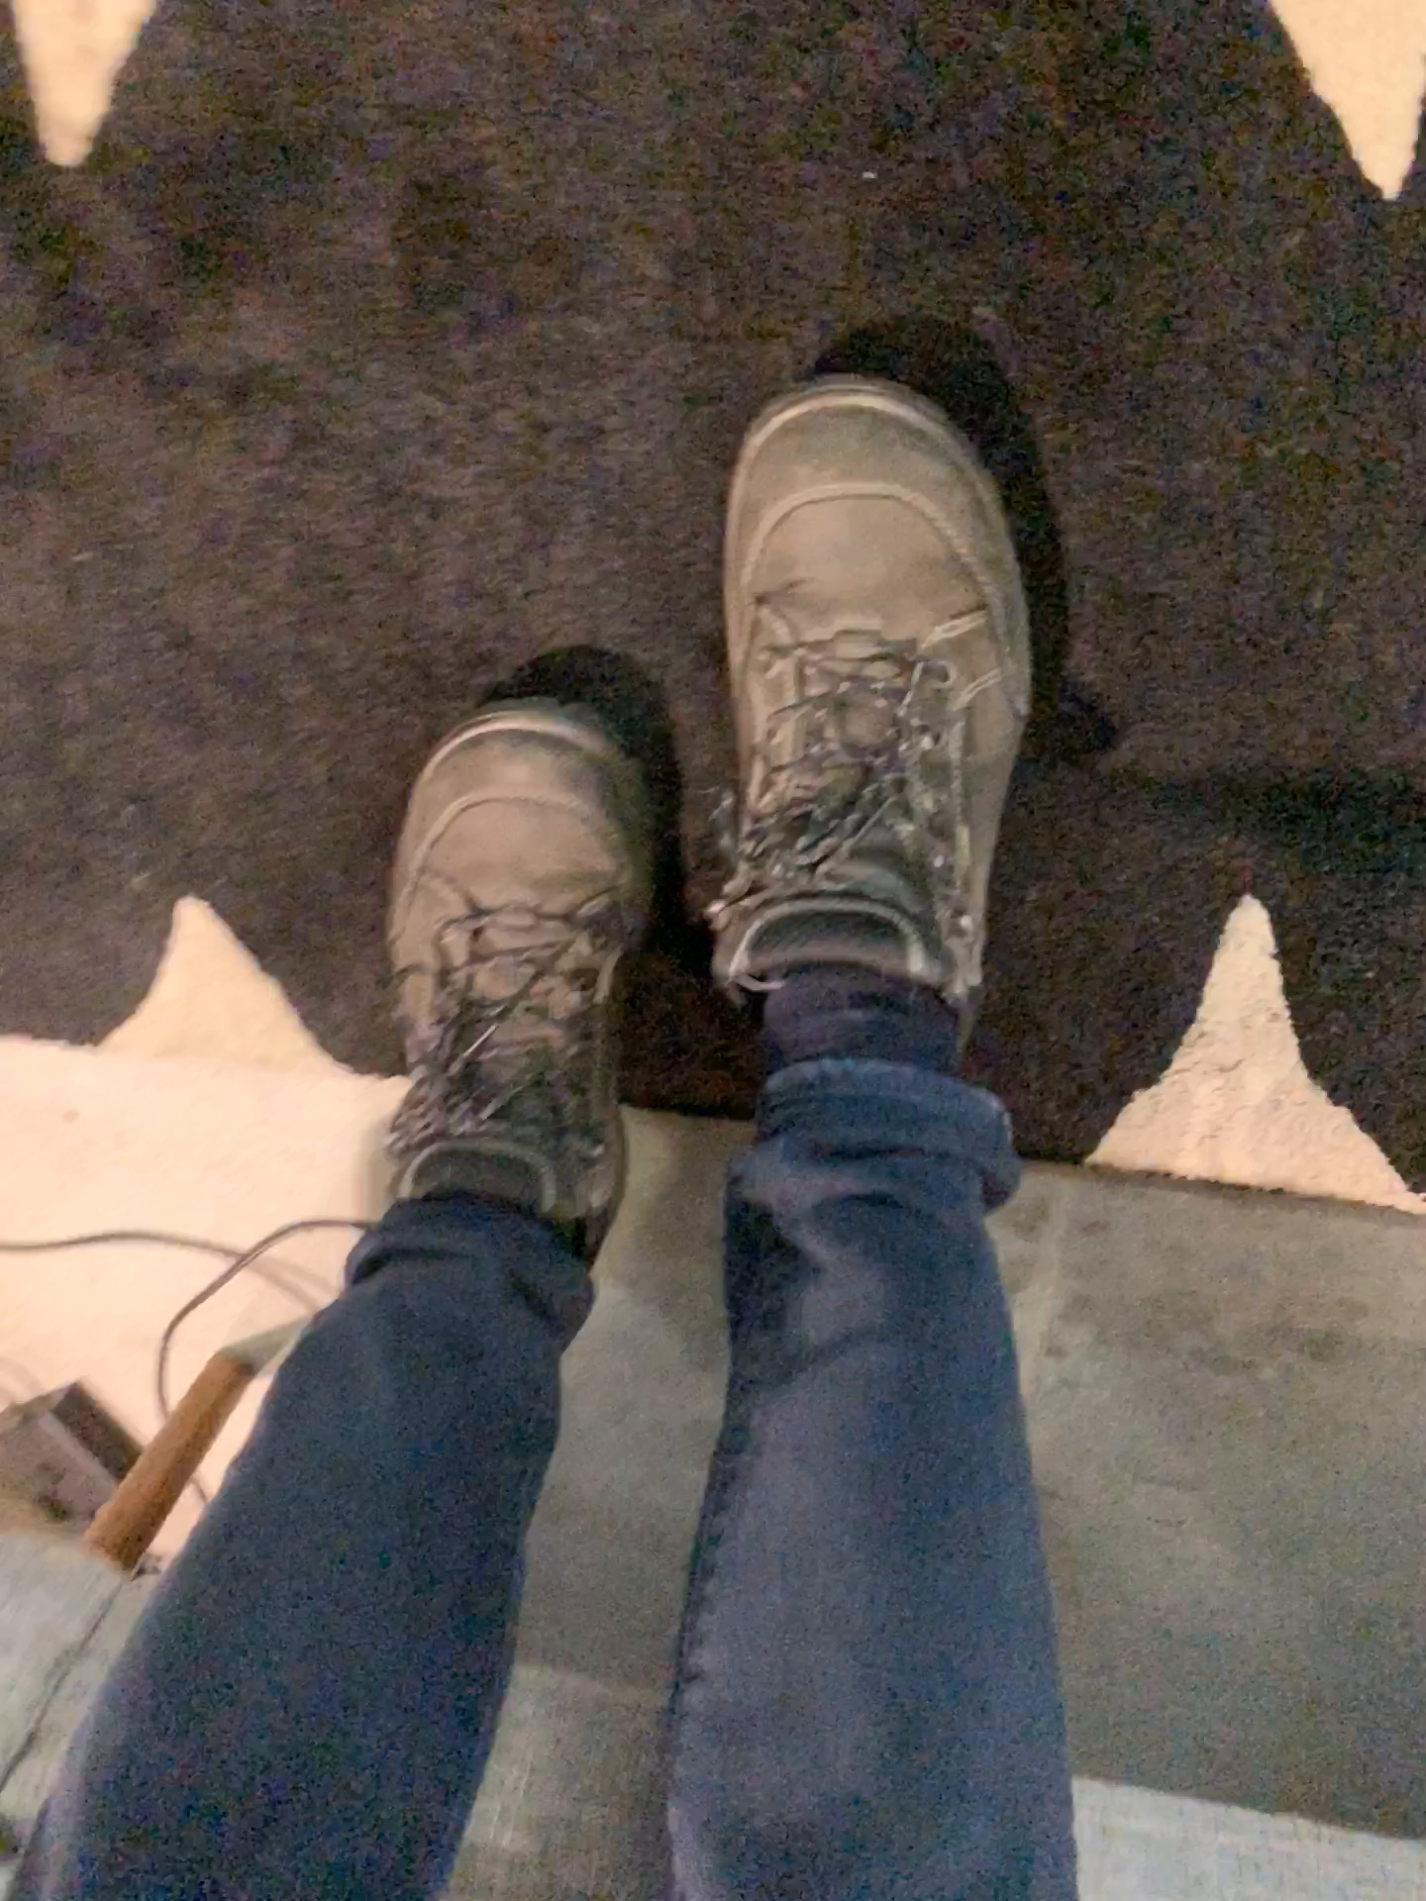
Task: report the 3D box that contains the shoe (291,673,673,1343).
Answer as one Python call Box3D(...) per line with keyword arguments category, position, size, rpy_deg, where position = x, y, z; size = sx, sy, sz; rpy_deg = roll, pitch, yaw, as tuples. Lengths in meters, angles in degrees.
Box3D(category="shoe", position=(-0.088, 0.031, 0.634), size=(0.119, 0.077, 0.286), rpy_deg=(4, 120, 10))

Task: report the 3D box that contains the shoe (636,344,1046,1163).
Box3D(category="shoe", position=(0.059, -0.060, 0.543), size=(0.121, 0.077, 0.289), rpy_deg=(-1, 119, 13))
